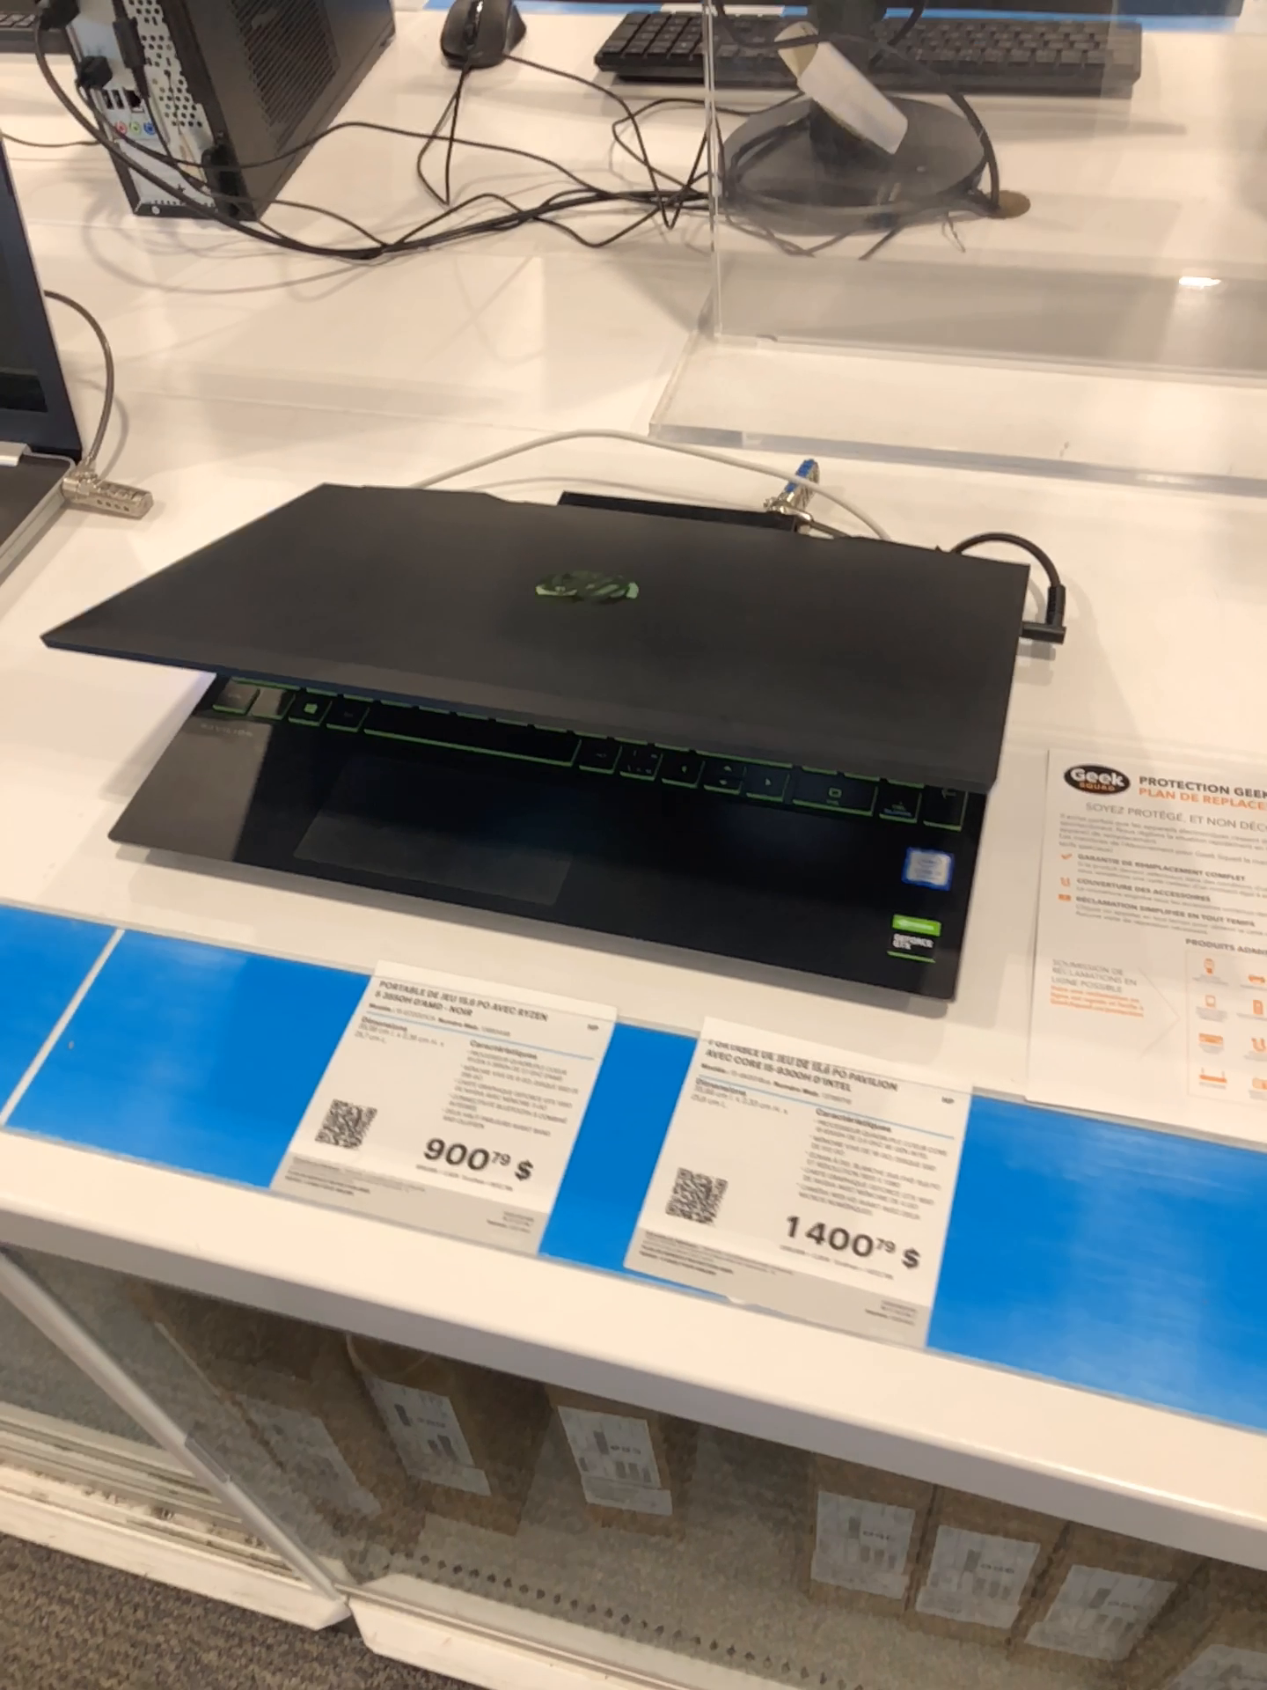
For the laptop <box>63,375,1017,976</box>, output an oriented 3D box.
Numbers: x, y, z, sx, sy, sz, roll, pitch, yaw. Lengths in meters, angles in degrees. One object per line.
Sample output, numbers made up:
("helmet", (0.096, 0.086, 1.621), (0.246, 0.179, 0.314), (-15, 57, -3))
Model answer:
("laptop", (-0.028, -0.087, 0.590), (0.339, 0.064, 0.222), (9, 56, 13))
